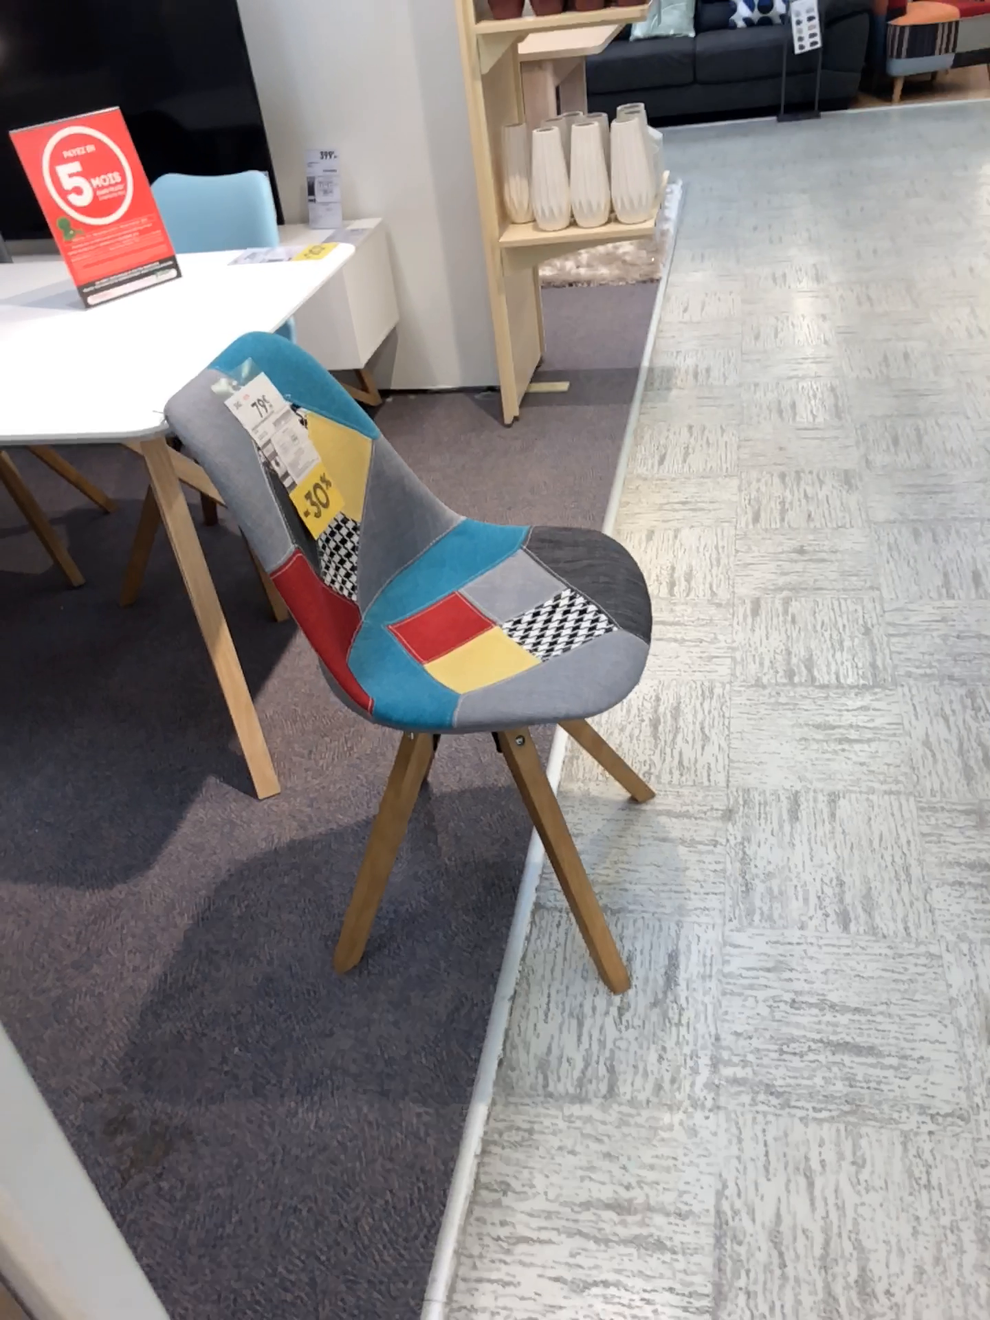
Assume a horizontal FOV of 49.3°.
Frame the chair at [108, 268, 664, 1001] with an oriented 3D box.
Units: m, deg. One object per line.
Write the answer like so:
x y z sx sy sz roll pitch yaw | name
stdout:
-0.050 -0.022 1.437 0.510 0.815 0.473 0 35 11 | chair
